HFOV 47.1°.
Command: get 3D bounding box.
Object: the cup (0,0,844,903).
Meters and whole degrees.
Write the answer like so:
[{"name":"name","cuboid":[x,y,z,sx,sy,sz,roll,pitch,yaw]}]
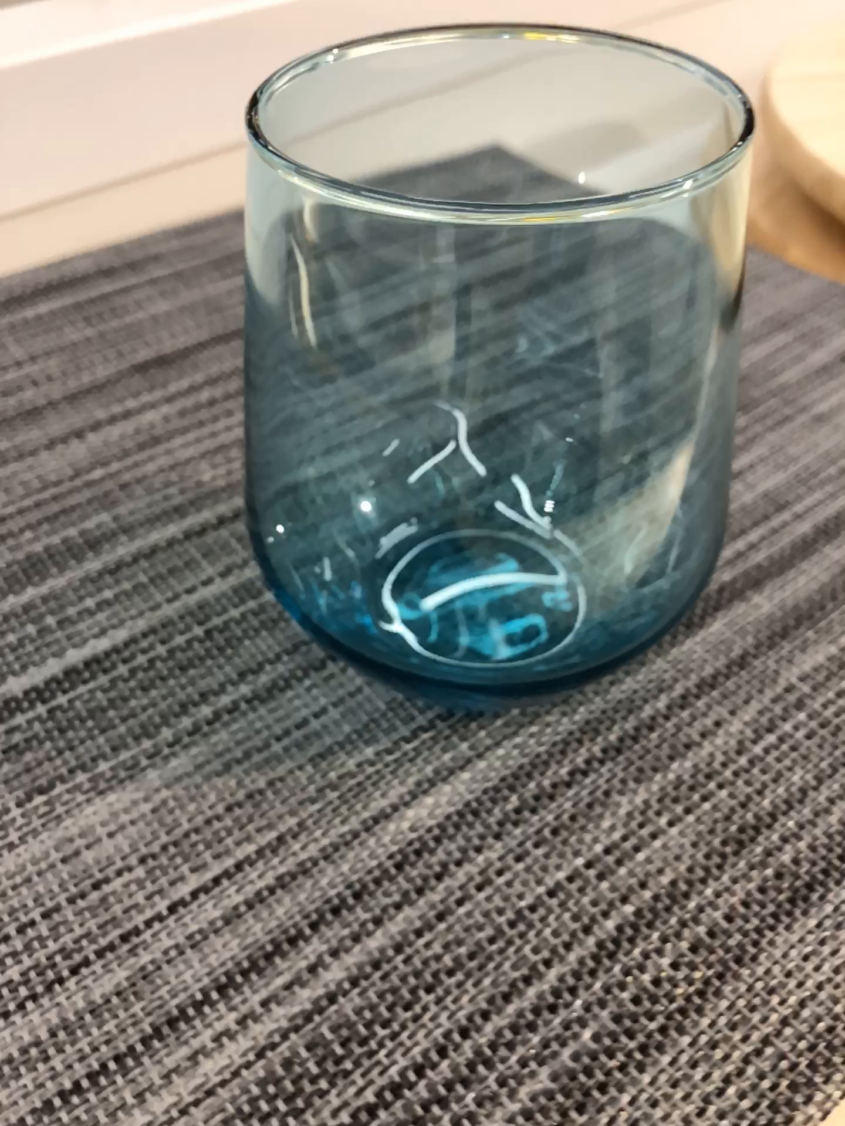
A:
[{"name":"cup","cuboid":[0.005,-0.035,0.191,0.120,0.120,0.120,-1,43,1]}]
